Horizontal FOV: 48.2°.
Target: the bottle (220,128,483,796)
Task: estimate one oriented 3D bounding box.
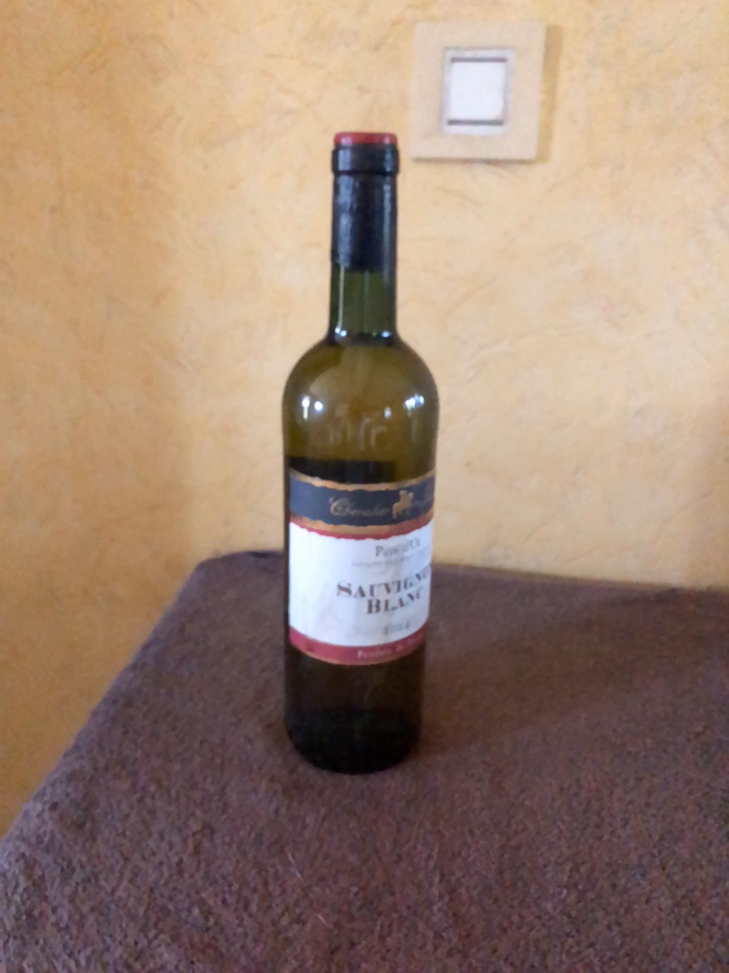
[{"bbox_3d":[-0.009,-0.009,0.388,0.080,0.289,0.080,0,20,0],"label":"bottle"}]
